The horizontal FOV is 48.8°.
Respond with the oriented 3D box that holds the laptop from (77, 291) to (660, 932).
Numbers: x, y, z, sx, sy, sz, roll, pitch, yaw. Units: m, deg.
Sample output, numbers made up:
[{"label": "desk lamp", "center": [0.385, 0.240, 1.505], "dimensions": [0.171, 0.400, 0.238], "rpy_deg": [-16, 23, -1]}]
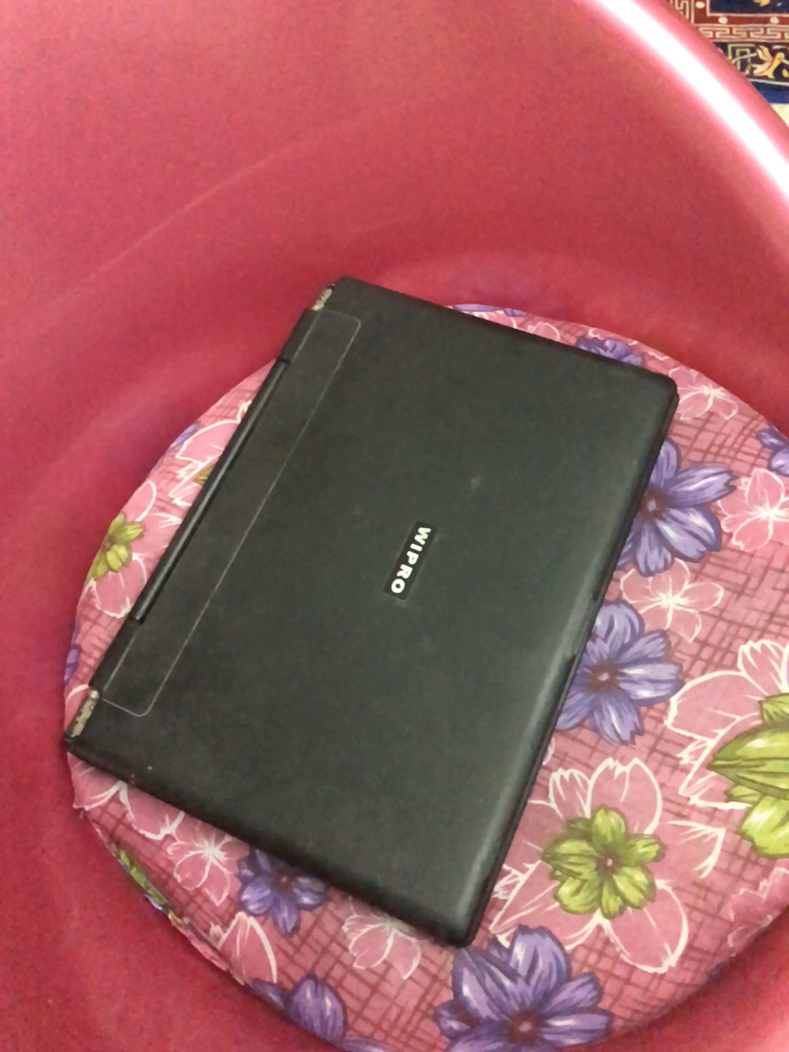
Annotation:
[{"label": "laptop", "center": [-0.007, 0.020, 0.499], "dimensions": [0.220, 0.006, 0.322], "rpy_deg": [21, 71, 16]}]
